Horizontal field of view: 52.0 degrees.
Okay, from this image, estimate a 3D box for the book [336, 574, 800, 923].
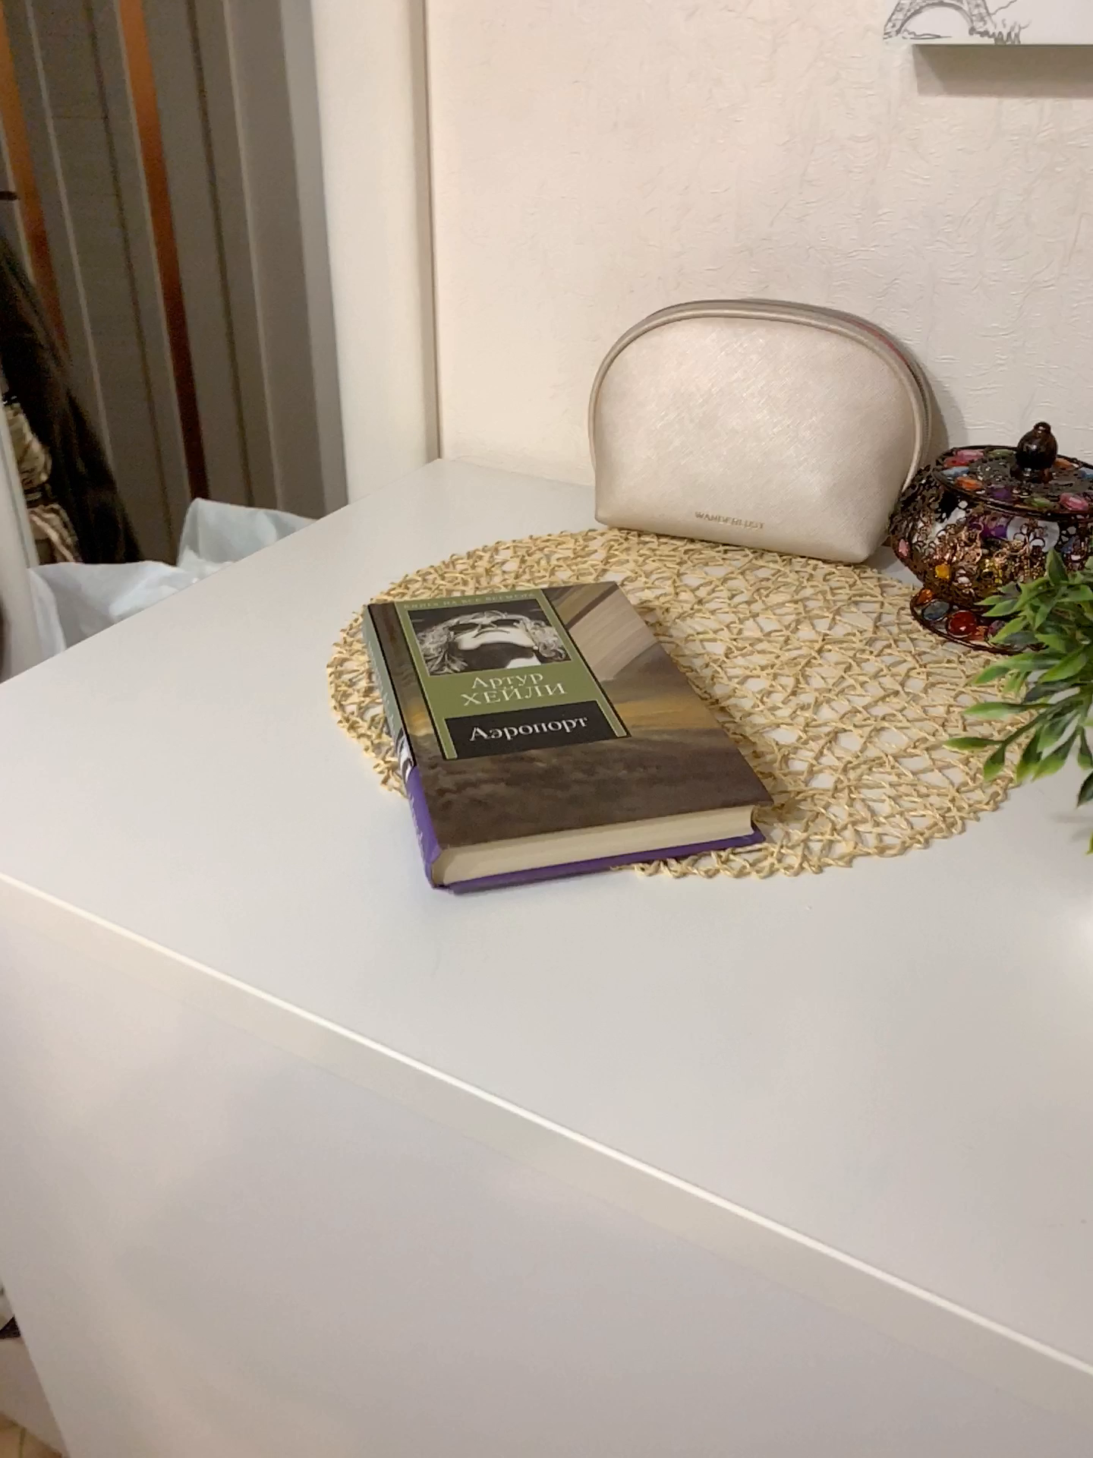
[{"bbox_3d":[-0.007,-0.008,0.499,0.150,0.020,0.232,-7,32,-12],"label":"book"}]
